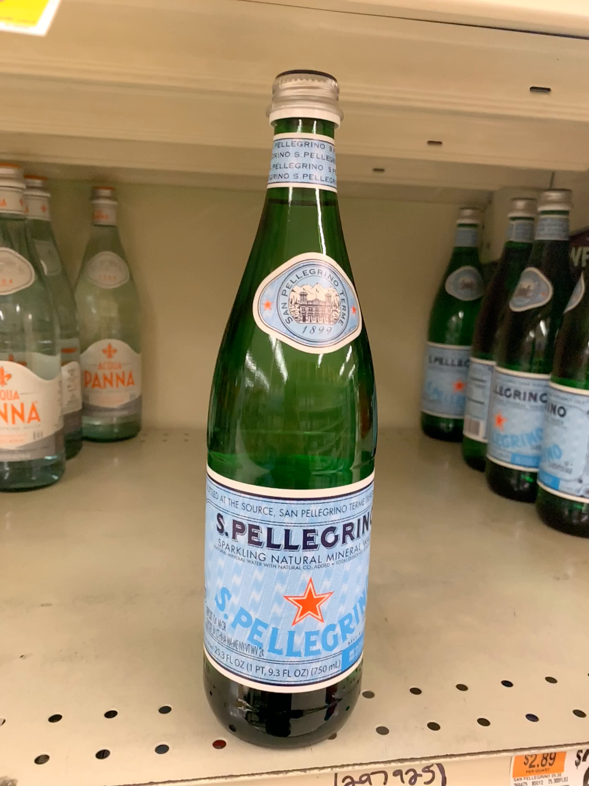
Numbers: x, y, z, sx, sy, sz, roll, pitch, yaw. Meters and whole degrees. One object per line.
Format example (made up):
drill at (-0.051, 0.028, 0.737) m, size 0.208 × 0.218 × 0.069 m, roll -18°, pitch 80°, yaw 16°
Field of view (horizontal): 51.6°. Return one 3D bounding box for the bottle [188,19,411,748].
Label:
bottle at (-0.005, 0.009, 0.280) m, size 0.078 × 0.301 × 0.065 m, roll 2°, pitch 13°, yaw -3°
